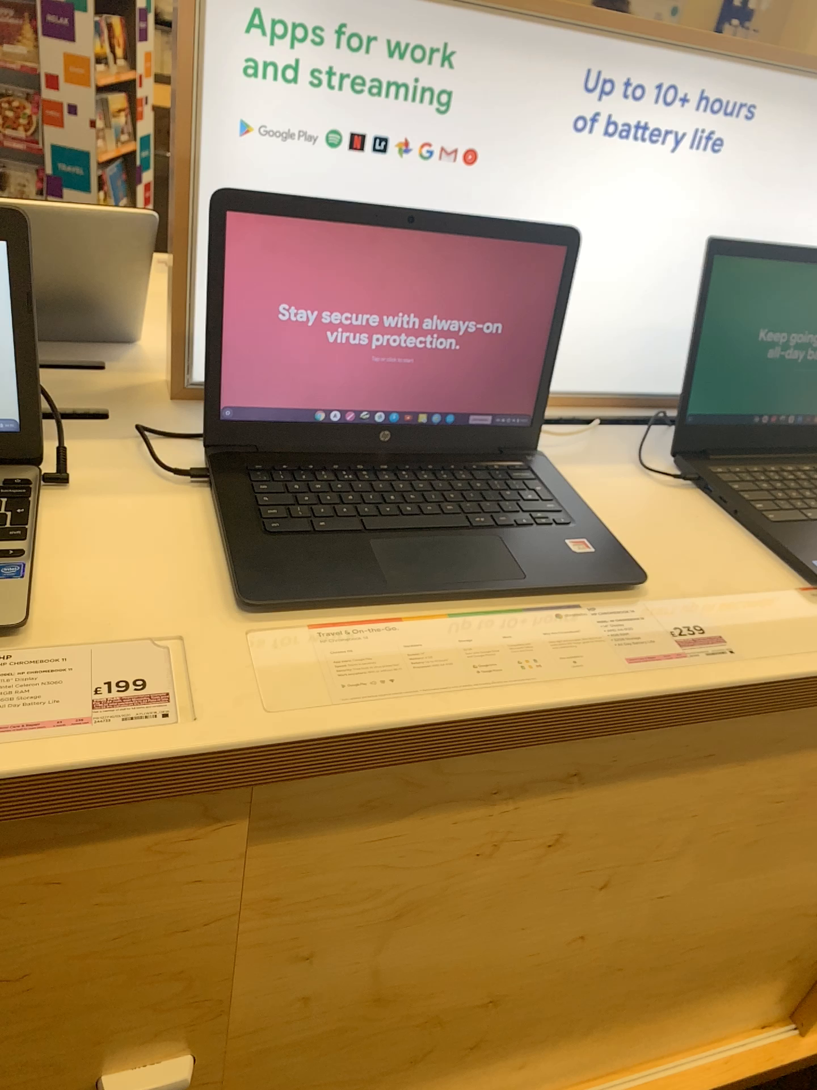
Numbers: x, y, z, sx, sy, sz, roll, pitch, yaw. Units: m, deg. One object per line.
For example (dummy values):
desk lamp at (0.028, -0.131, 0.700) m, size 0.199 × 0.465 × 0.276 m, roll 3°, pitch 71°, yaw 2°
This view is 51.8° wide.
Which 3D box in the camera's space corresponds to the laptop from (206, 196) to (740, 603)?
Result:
laptop at (0.022, -0.124, 0.676) m, size 0.331 × 0.208 × 0.246 m, roll -2°, pitch 35°, yaw -19°

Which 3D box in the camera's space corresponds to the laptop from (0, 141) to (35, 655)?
laptop at (-0.382, -0.096, 0.511) m, size 0.271 × 0.186 × 0.243 m, roll -2°, pitch 36°, yaw -22°
